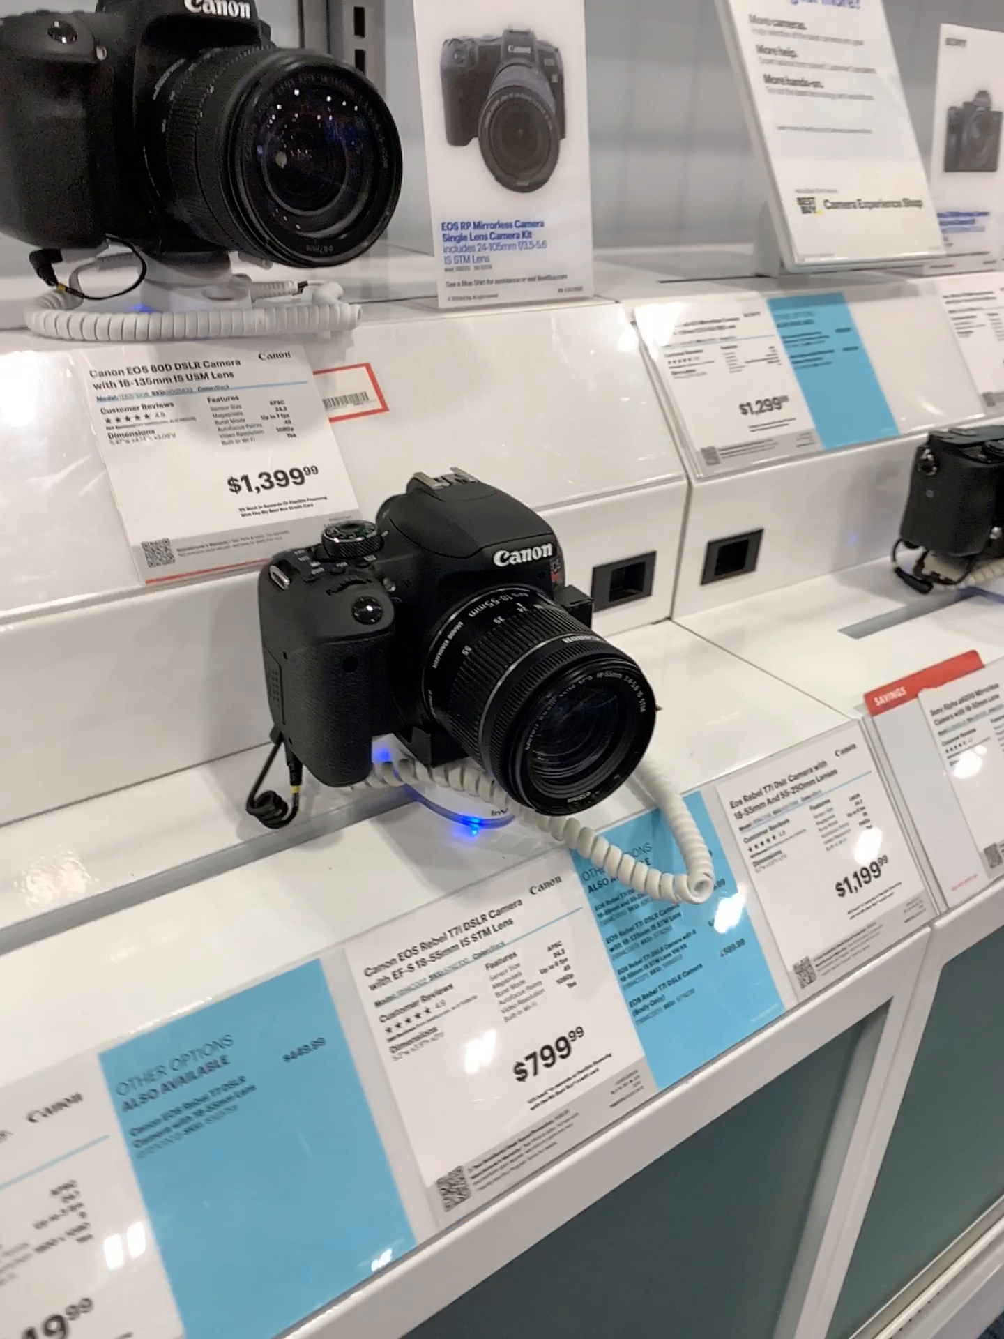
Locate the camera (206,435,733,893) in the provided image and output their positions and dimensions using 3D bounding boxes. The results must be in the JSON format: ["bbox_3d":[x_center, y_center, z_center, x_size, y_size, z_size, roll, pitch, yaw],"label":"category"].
[{"bbox_3d":[-0.016,-0.015,0.394,0.140,0.099,0.130,-17,33,-32],"label":"camera"}]
